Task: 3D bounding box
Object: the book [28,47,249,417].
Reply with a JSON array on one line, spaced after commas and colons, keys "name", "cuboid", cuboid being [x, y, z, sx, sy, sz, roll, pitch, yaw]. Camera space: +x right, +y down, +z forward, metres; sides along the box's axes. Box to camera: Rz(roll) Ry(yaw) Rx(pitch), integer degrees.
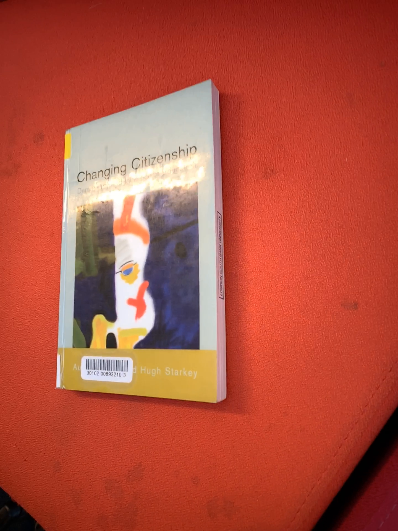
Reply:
[{"name": "book", "cuboid": [-0.056, -0.021, 0.331, 0.181, 0.040, 0.250, -6, 80, 29]}]
